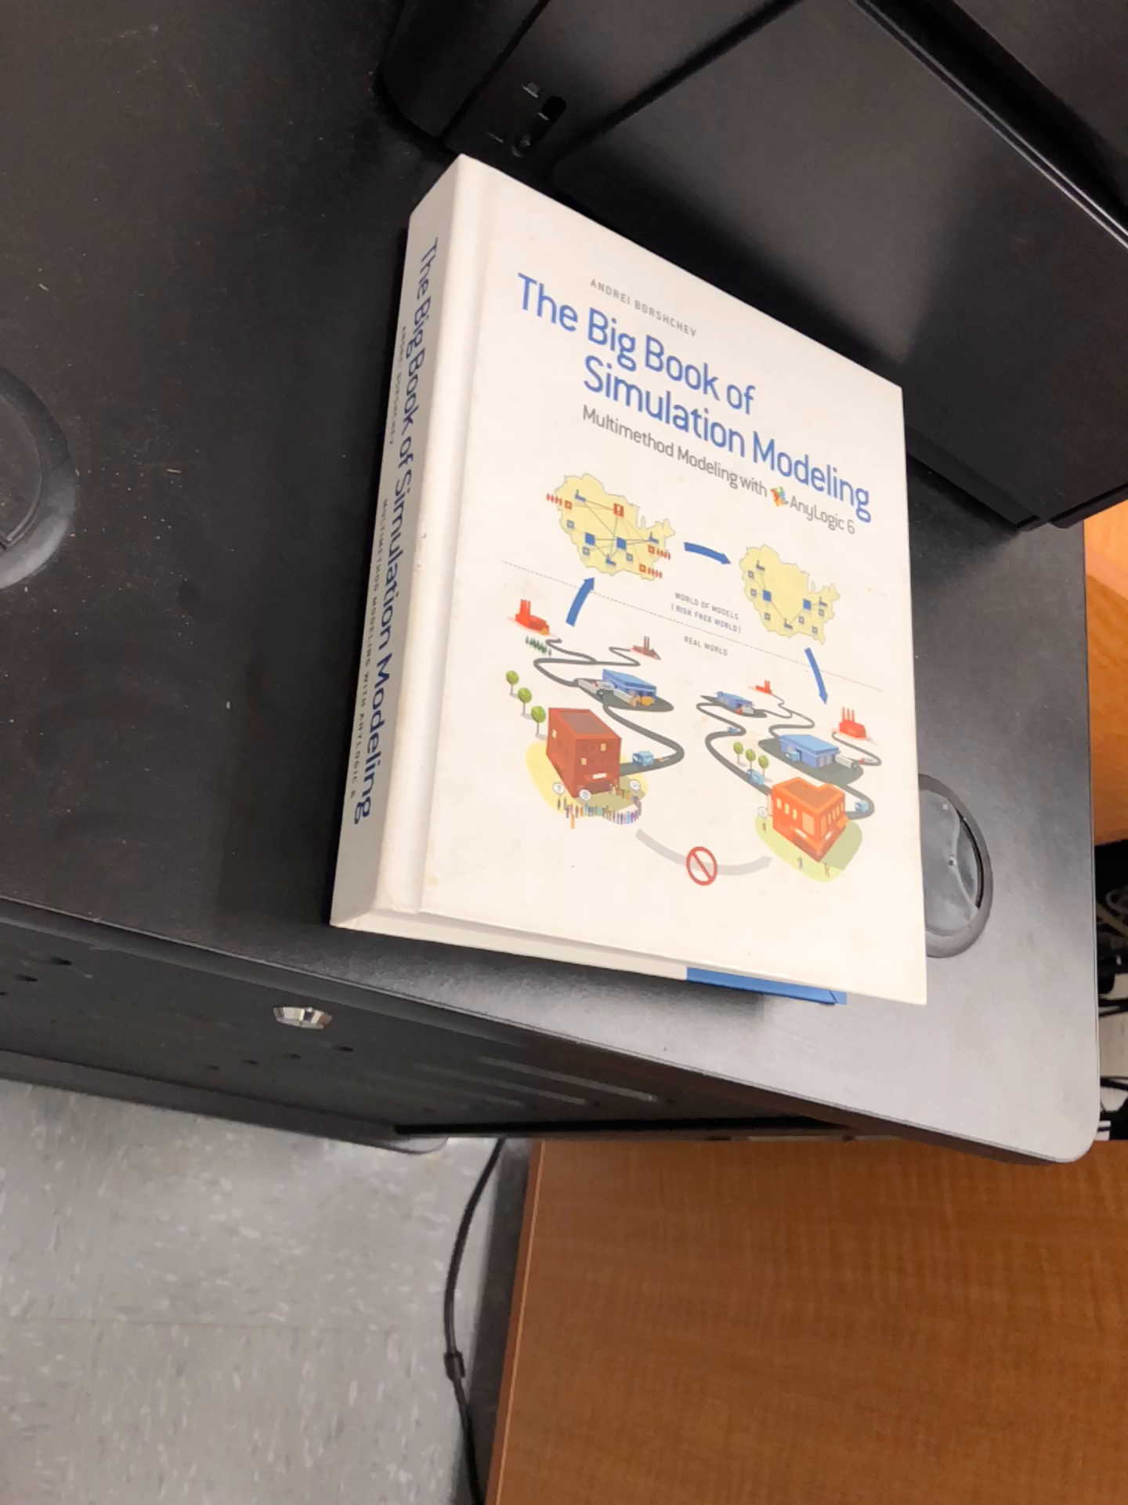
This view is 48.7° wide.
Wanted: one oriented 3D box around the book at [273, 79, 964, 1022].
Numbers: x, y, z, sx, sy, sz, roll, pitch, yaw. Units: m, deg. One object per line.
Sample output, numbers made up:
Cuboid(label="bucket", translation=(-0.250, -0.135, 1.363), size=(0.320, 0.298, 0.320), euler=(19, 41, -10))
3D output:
Cuboid(label="book", translation=(0.031, -0.054, 0.403), size=(0.211, 0.050, 0.250), euler=(15, 67, -30))
